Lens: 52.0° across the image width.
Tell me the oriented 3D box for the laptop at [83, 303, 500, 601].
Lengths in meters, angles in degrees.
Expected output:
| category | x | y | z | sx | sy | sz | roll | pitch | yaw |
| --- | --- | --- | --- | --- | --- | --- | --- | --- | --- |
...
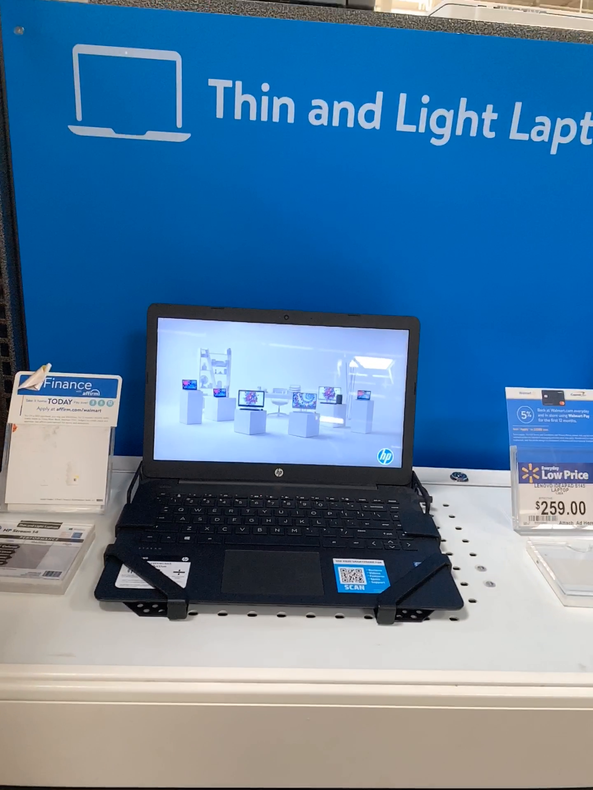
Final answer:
| category | x | y | z | sx | sy | sz | roll | pitch | yaw |
| --- | --- | --- | --- | --- | --- | --- | --- | --- | --- |
| laptop | -0.013 | 0.039 | 0.633 | 0.325 | 0.203 | 0.270 | 2 | 19 | -4 |
